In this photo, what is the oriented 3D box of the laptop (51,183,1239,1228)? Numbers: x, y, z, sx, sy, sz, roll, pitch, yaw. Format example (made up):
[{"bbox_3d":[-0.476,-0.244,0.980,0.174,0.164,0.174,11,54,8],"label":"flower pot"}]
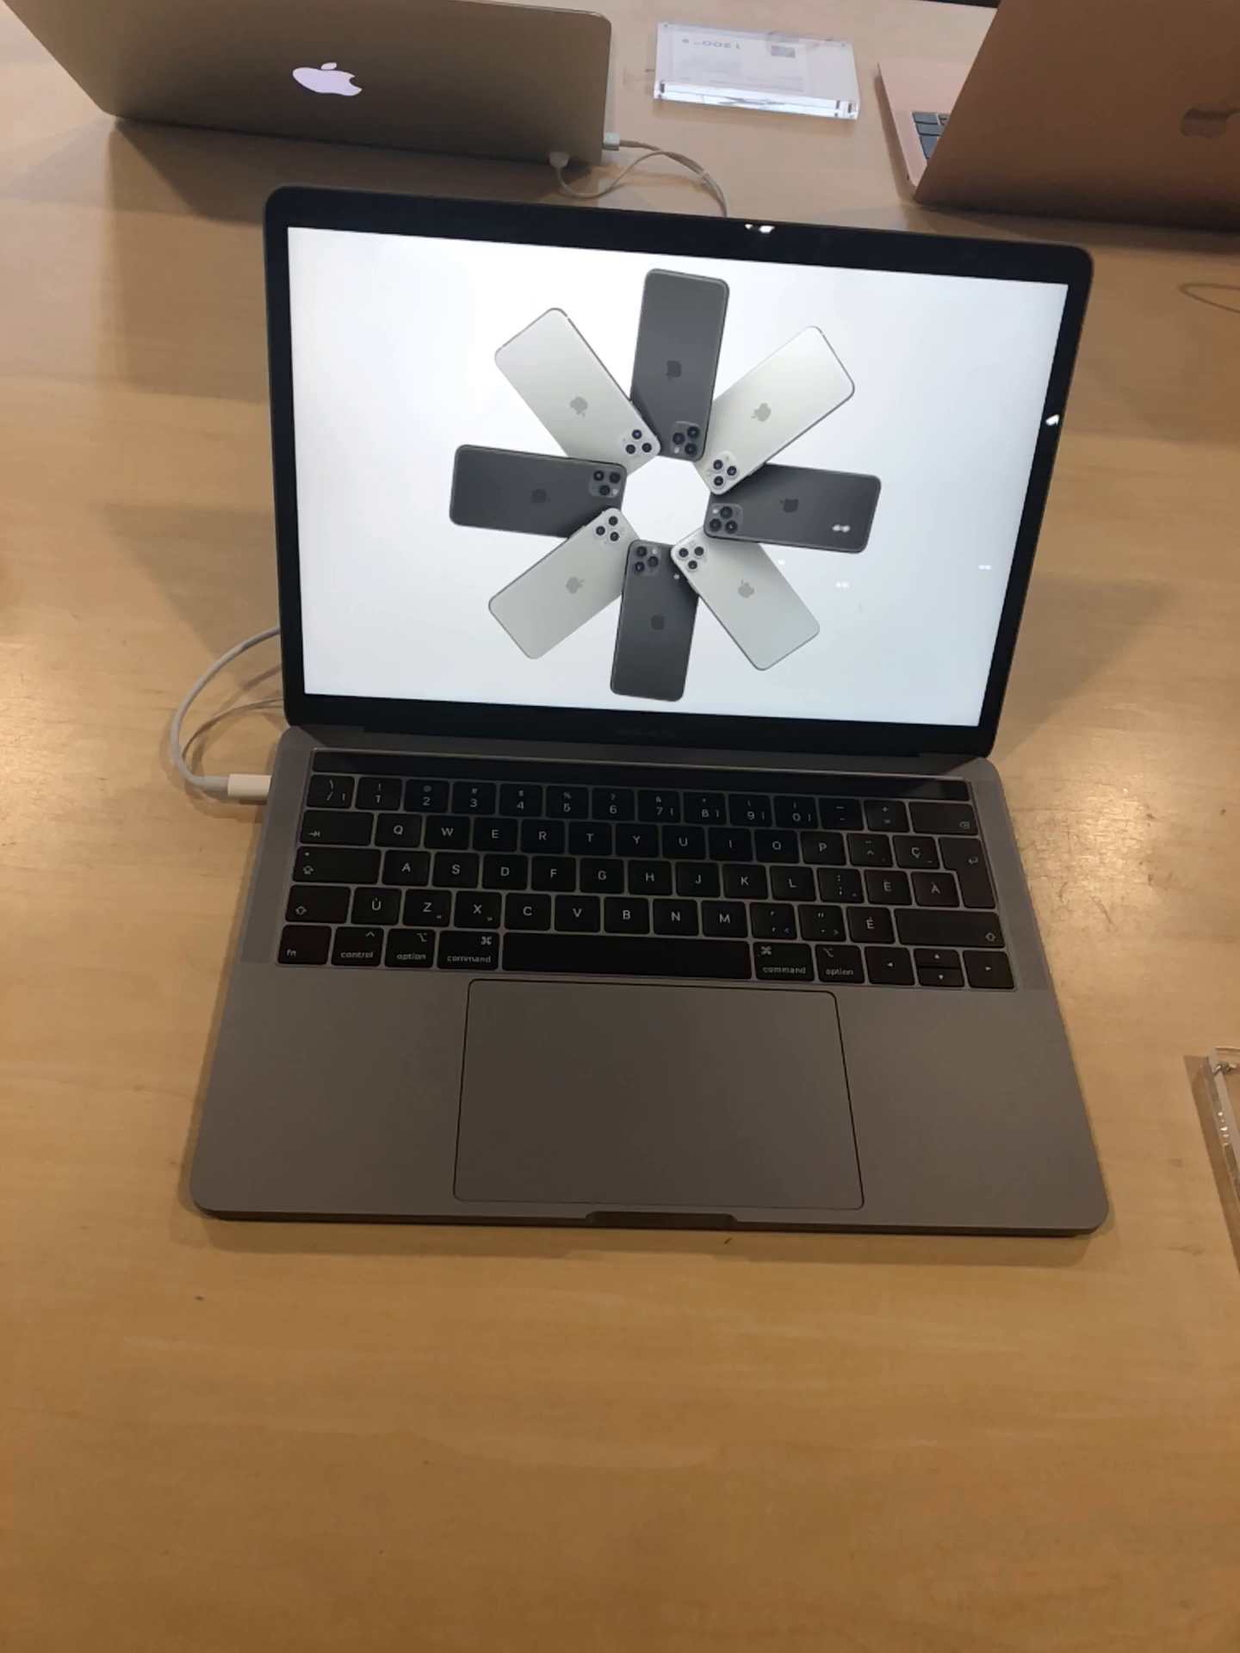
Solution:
[{"bbox_3d":[0.015,-0.046,0.465,0.296,0.181,0.296,3,50,-5],"label":"laptop"}]
